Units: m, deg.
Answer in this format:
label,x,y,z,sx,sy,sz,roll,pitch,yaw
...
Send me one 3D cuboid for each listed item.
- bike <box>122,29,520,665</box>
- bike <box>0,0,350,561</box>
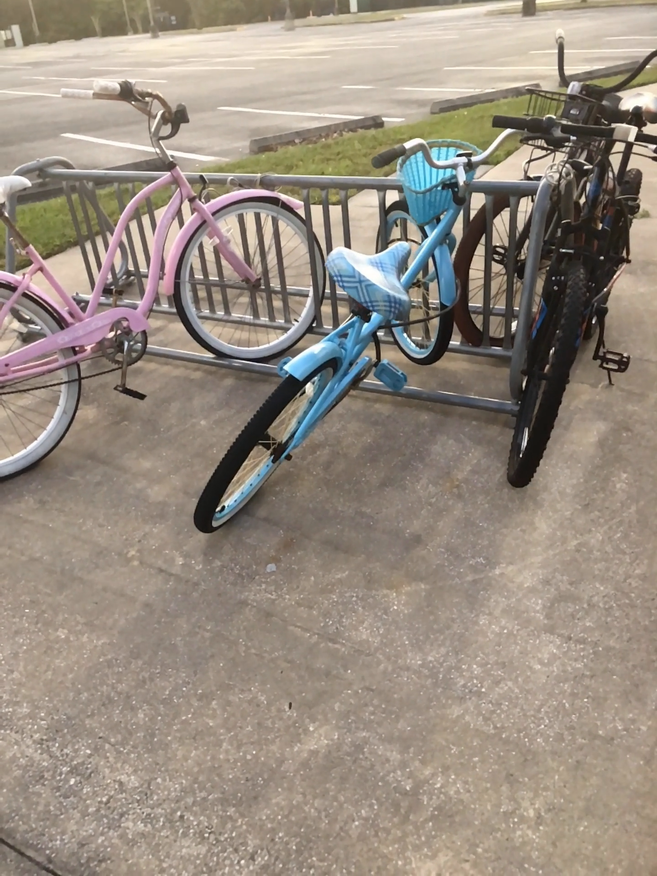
label,x,y,z,sx,sy,sz,roll,pitch,yaw
bike,0.121,-0.408,2.033,0.584,0.953,1.424,7,40,22
bike,-0.815,-0.709,2.400,1.608,1.146,0.775,-34,40,-27
